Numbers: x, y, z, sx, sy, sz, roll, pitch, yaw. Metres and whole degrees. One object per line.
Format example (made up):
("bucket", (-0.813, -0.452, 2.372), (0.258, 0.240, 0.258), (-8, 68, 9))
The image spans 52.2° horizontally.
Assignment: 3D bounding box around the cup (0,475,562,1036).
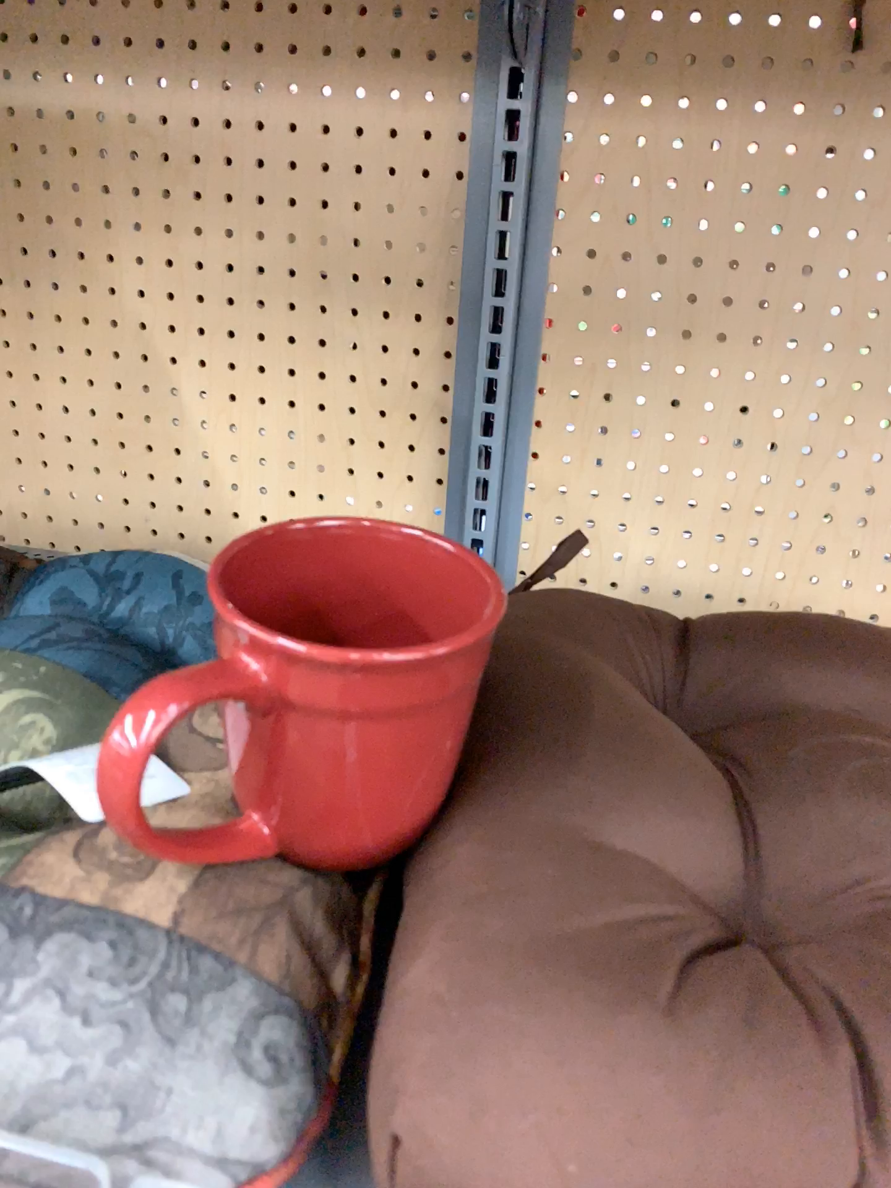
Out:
("cup", (-0.049, 0.035, 0.301), (0.100, 0.089, 0.151), (24, 32, 27))
